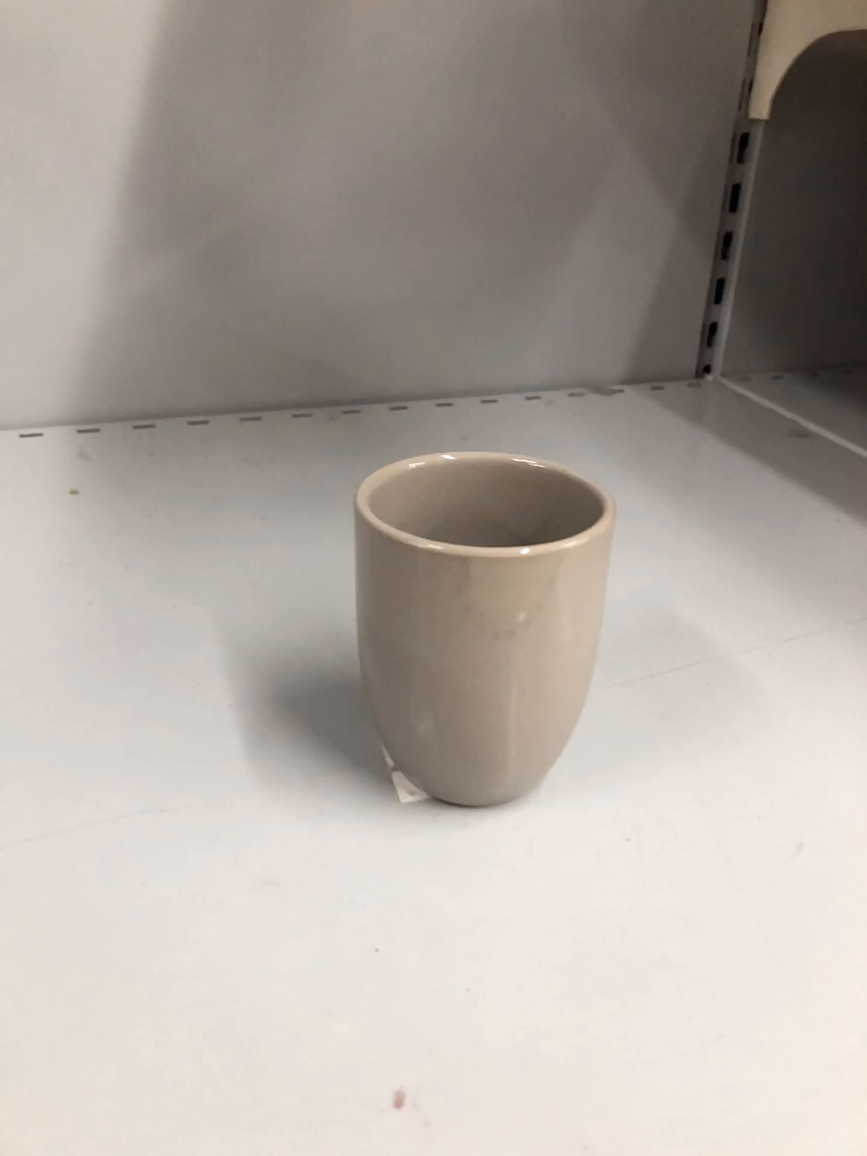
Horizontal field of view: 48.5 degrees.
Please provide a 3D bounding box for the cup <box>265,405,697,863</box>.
[{"bbox_3d":[0.015,0.005,0.235,0.064,0.062,0.092,17,31,25],"label":"cup"}]
